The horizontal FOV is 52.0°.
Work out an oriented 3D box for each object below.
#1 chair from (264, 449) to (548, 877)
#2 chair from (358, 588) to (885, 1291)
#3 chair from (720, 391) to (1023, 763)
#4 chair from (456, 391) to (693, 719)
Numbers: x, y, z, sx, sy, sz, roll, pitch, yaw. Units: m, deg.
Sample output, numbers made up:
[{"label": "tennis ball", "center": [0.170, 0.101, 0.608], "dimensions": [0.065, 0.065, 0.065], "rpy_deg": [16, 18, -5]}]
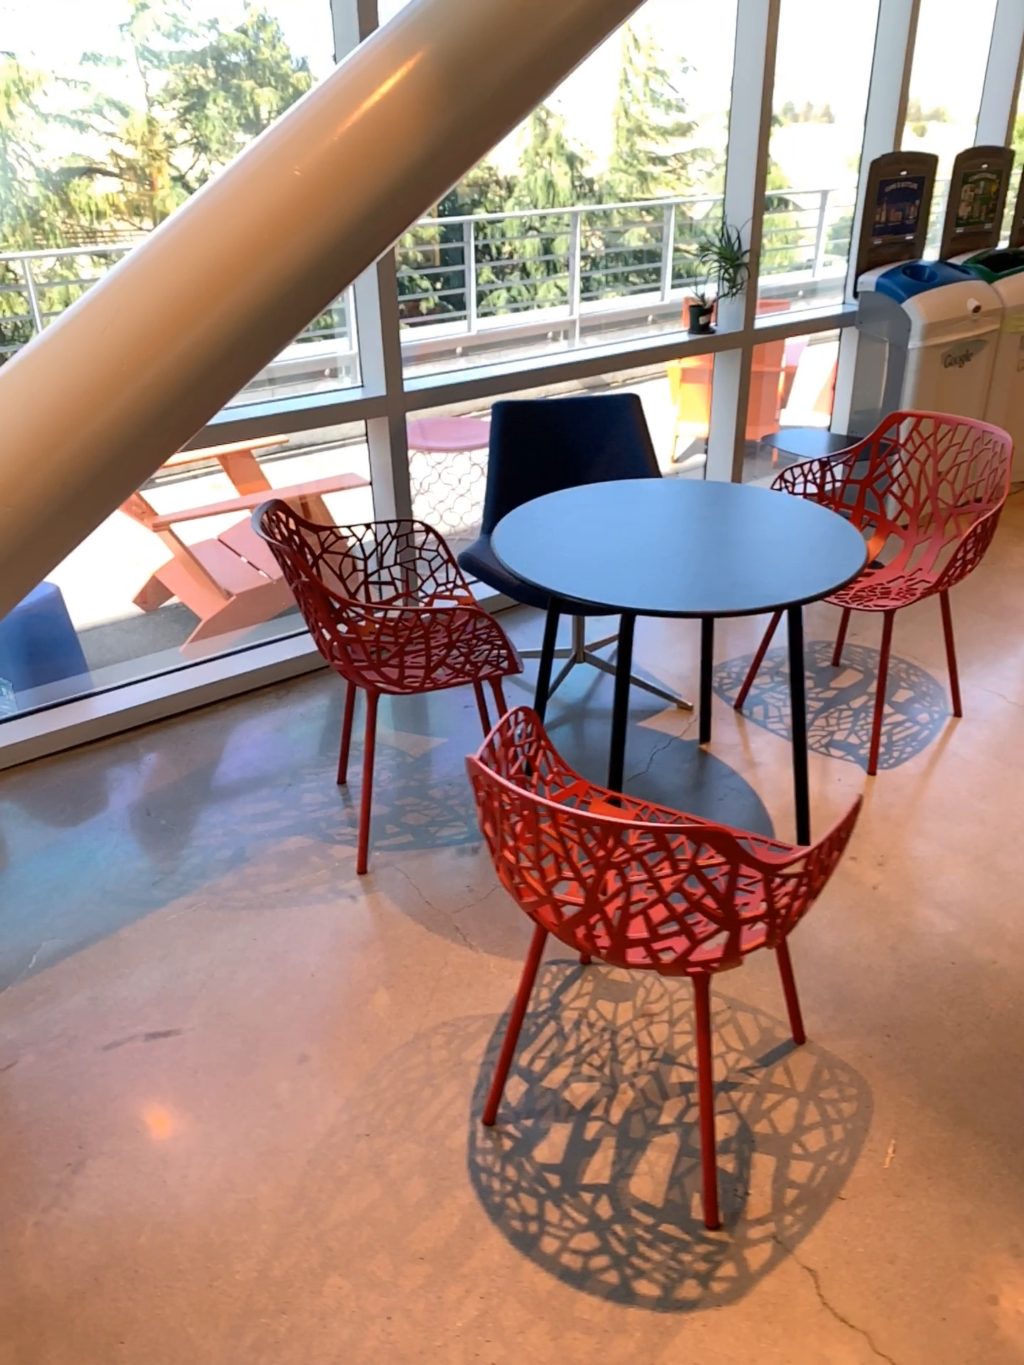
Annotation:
[{"label": "chair", "center": [-0.226, -0.064, 2.399], "dimensions": [0.530, 0.765, 0.564], "rpy_deg": [-5, 28, -6]}, {"label": "chair", "center": [0.179, 0.350, 1.642], "dimensions": [0.561, 0.765, 0.532], "rpy_deg": [14, 31, 27]}, {"label": "chair", "center": [0.994, -0.317, 2.862], "dimensions": [0.561, 0.765, 0.553], "rpy_deg": [-20, 33, -32]}, {"label": "chair", "center": [0.153, -0.376, 3.004], "dimensions": [0.560, 0.765, 0.513], "rpy_deg": [-4, 28, -5]}]
